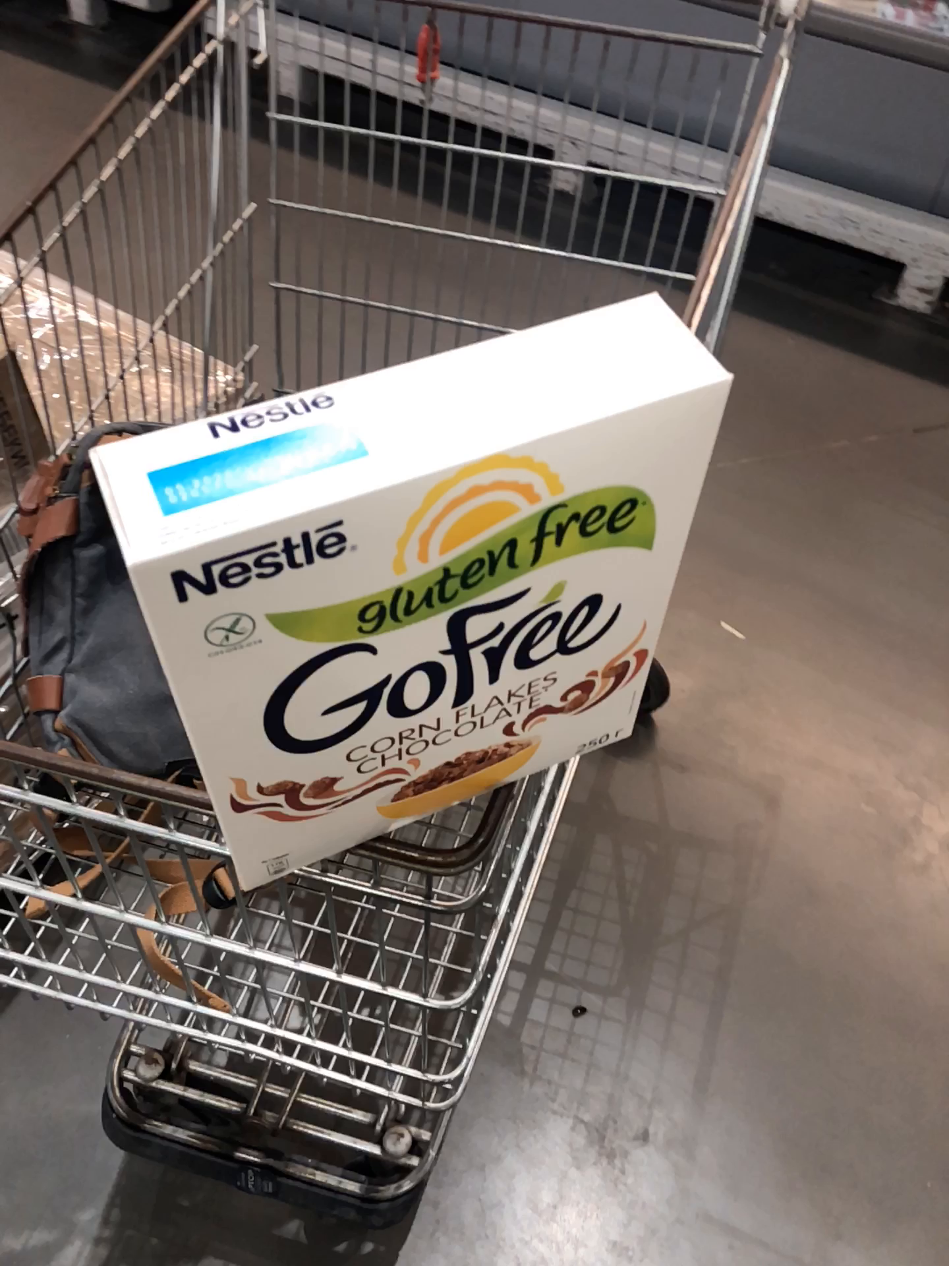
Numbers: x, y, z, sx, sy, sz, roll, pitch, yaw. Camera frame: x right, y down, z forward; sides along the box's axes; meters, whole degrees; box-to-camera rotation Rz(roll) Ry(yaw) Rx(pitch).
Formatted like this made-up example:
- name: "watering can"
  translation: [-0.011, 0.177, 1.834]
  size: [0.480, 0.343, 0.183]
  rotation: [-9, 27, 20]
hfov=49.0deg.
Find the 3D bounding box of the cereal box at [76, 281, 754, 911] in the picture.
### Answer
- name: "cereal box"
  translation: [-0.017, 0.000, 0.403]
  size: [0.200, 0.229, 0.050]
  rotation: [-19, 55, -17]
